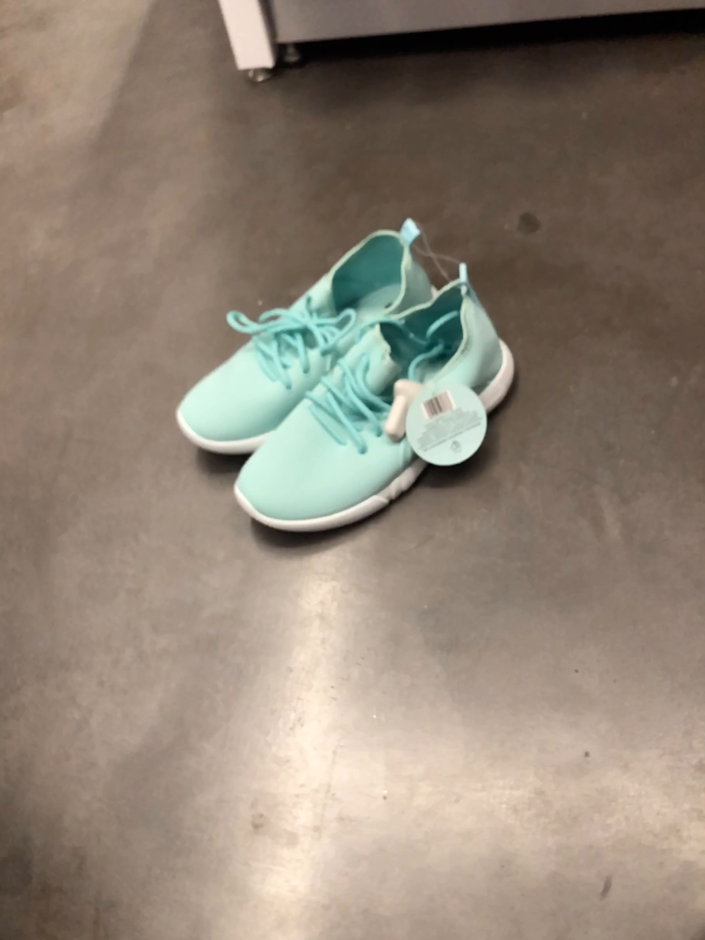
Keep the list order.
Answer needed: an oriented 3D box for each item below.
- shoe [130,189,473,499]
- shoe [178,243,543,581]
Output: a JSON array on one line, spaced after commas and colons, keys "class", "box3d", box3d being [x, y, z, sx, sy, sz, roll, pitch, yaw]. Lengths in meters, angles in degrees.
[{"class": "shoe", "box3d": [-0.031, -0.099, 0.601, 0.230, 0.100, 0.100, -33, 58, -12]}, {"class": "shoe", "box3d": [0.012, -0.044, 0.561, 0.230, 0.100, 0.100, -34, 59, -12]}]
